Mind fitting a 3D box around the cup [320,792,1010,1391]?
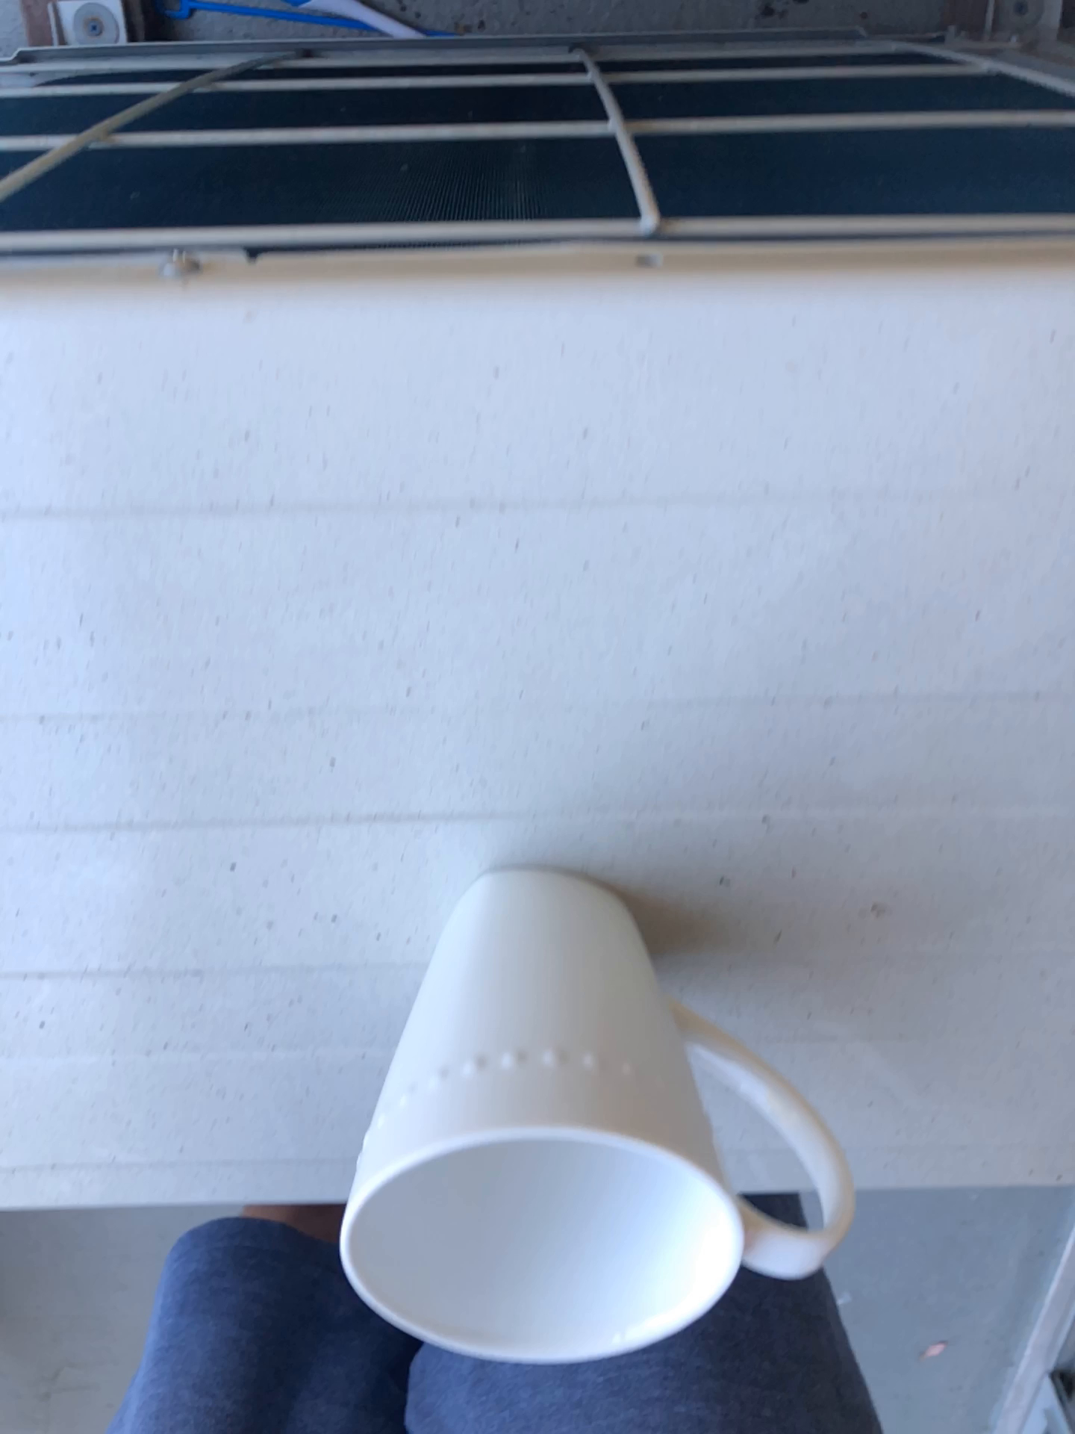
[{"bbox_3d":[0.022,0.097,0.317,0.140,0.099,0.101,7,122,-7],"label":"cup"}]
